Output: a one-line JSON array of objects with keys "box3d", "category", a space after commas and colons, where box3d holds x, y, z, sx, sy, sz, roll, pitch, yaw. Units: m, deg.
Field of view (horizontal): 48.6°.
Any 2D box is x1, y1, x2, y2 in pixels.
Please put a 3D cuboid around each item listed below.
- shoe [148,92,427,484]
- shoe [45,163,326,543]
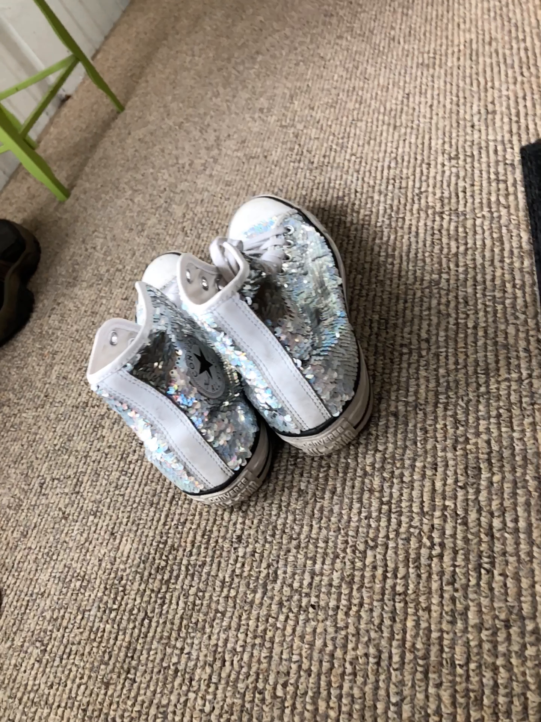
[{"box3d": [-0.003, -0.069, 0.445, 0.111, 0.127, 0.265, -28, 42, 12], "category": "shoe"}, {"box3d": [-0.081, -0.022, 0.469, 0.111, 0.137, 0.265, -34, 41, 5], "category": "shoe"}]
